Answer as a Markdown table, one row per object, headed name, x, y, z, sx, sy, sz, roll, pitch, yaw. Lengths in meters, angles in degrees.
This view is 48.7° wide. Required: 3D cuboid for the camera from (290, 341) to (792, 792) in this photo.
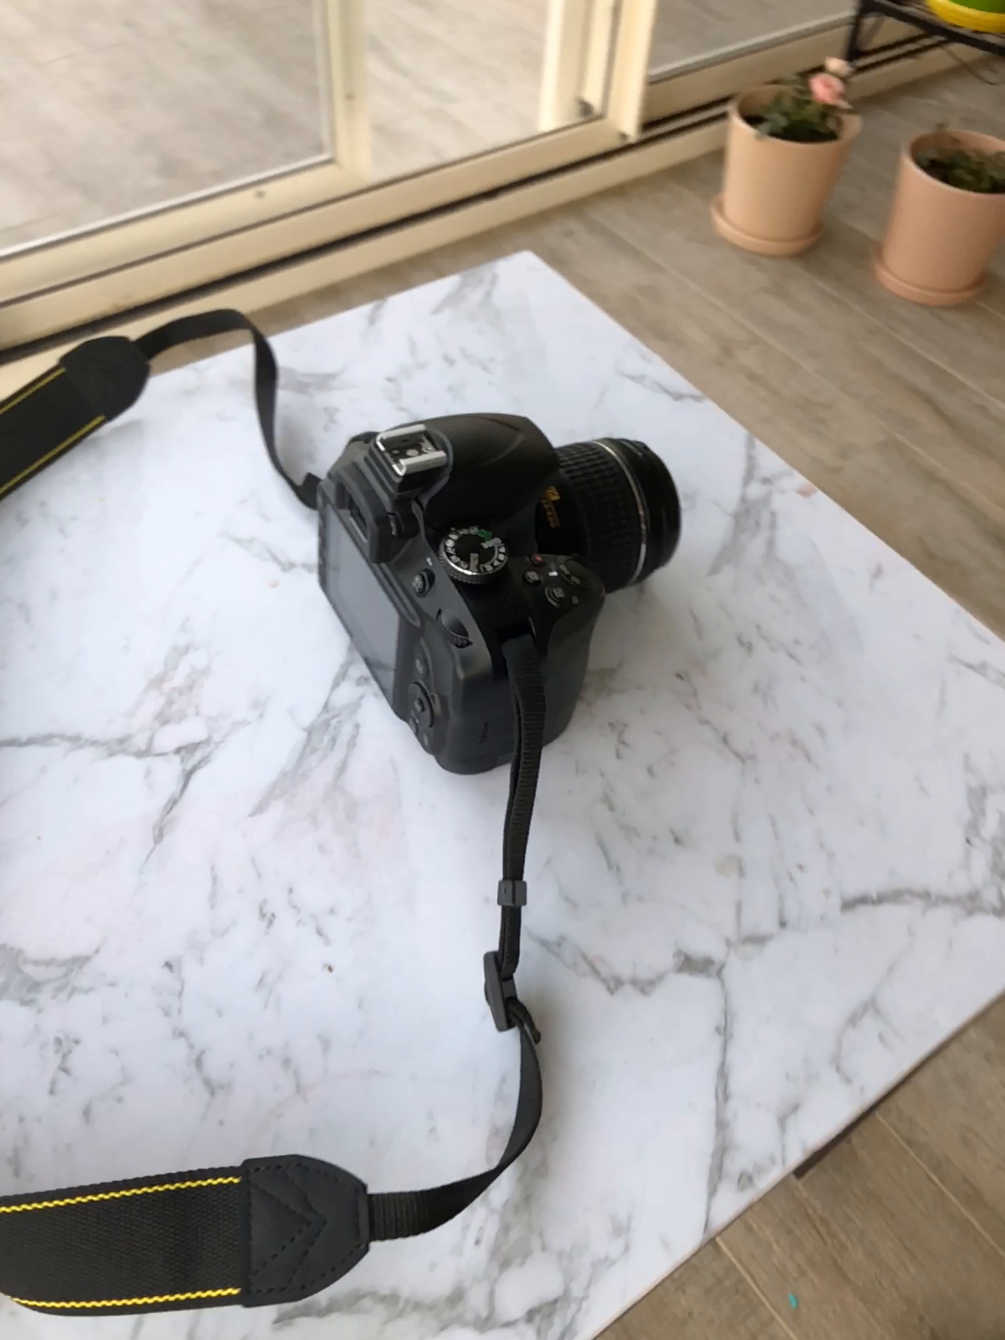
| name | x | y | z | sx | sy | sz | roll | pitch | yaw |
| --- | --- | --- | --- | --- | --- | --- | --- | --- | --- |
| camera | 0.009 | -0.046 | 0.424 | 0.138 | 0.076 | 0.122 | -20 | 56 | -22 |
